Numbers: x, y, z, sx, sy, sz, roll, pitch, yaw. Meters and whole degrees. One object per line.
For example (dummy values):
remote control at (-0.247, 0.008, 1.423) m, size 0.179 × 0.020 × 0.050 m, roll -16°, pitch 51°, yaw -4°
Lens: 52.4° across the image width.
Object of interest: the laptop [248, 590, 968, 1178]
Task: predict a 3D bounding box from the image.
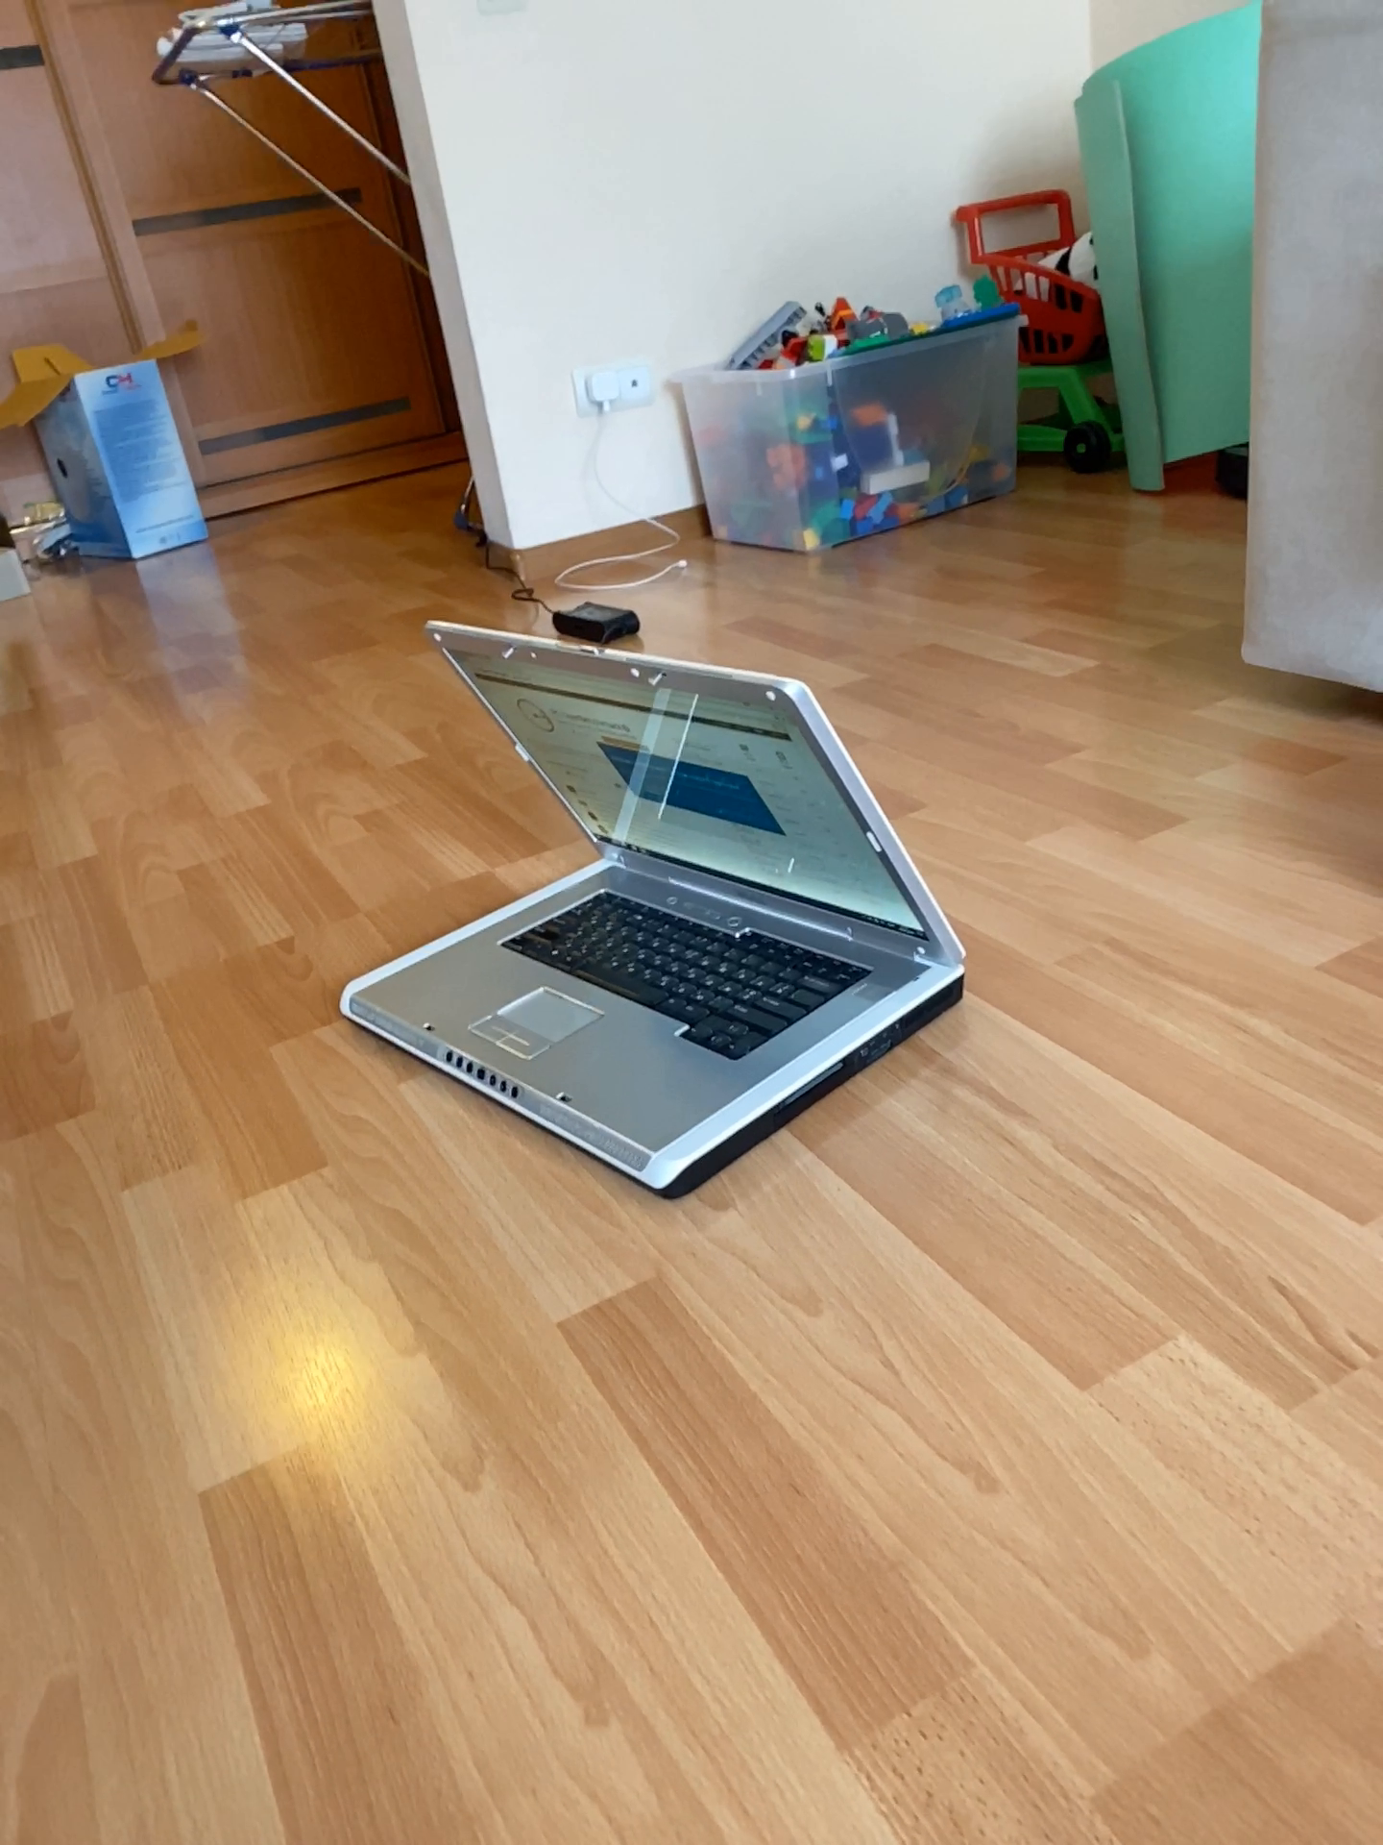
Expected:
laptop at (-0.060, -0.061, 0.960) m, size 0.274 × 0.238 × 0.388 m, roll -28°, pitch 31°, yaw -35°
